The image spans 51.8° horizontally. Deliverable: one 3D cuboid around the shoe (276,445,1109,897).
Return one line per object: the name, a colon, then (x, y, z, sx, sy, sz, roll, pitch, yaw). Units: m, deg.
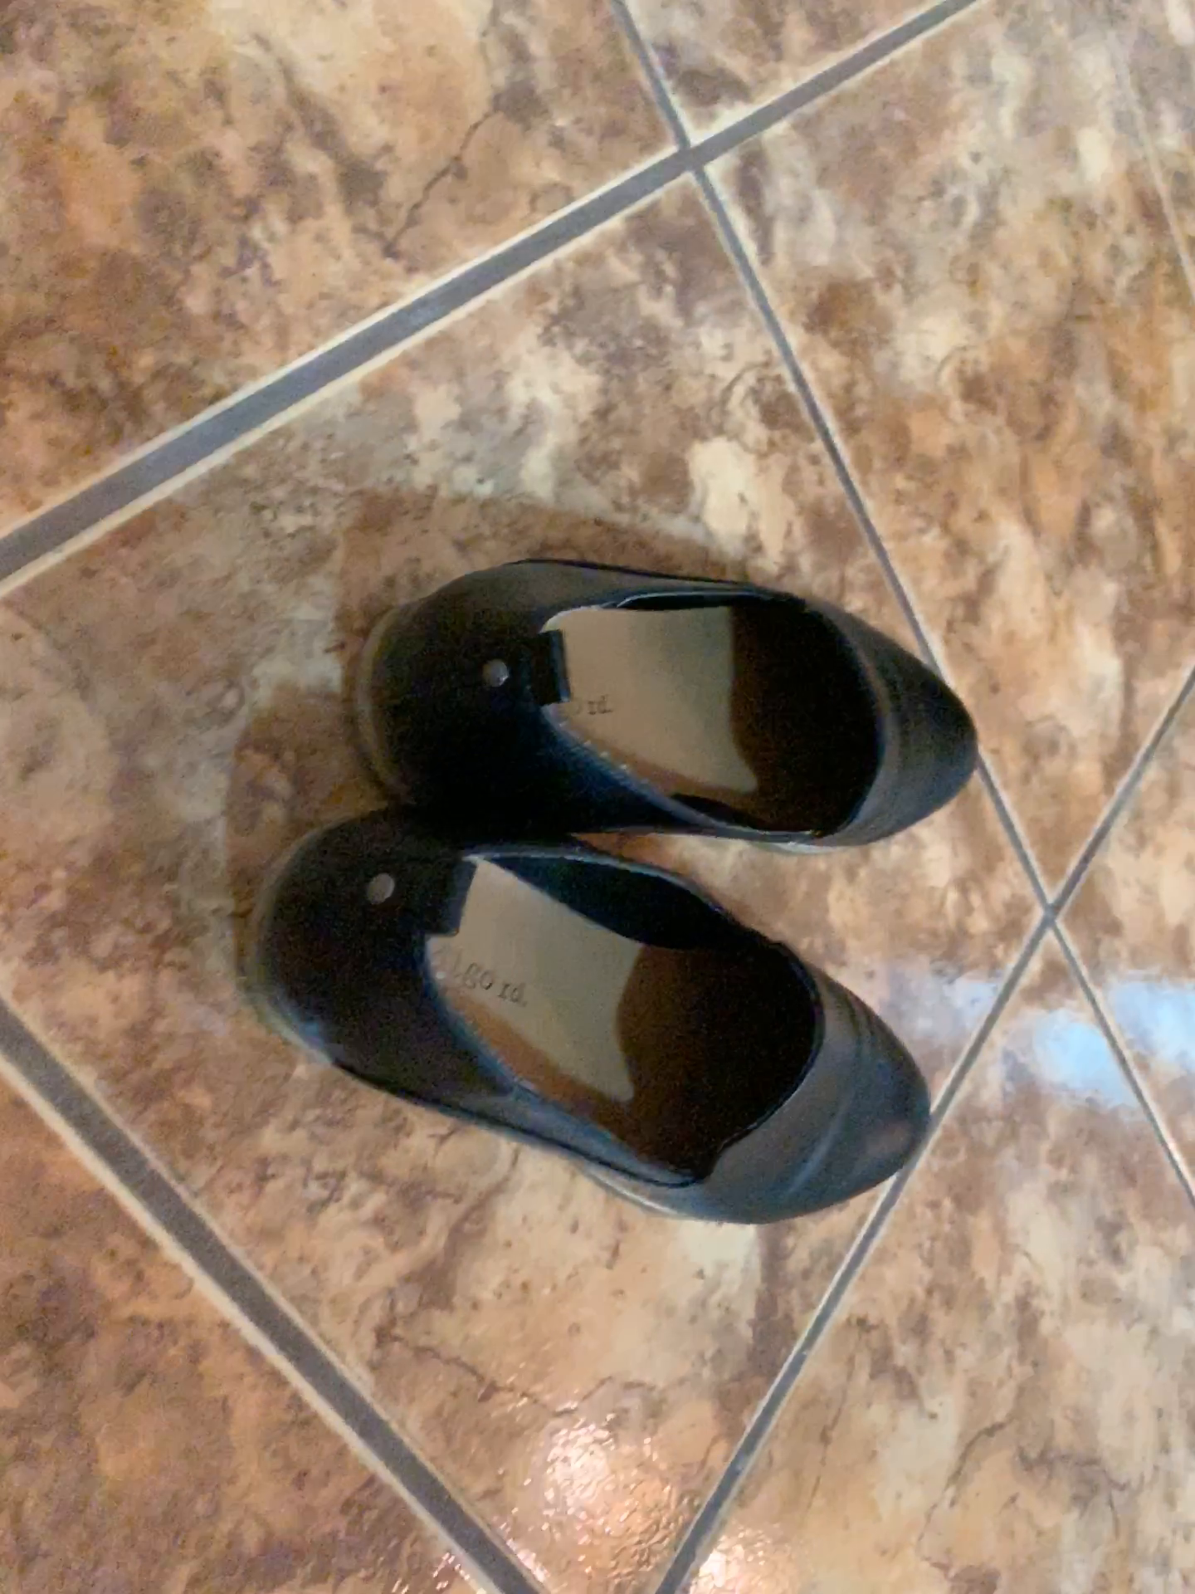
shoe: (0.045, -0.021, 0.349, 0.256, 0.070, 0.087, 1, 84, -40)

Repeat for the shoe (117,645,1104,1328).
shoe: (0.027, 0.064, 0.313, 0.257, 0.070, 0.086, 28, 68, -35)
